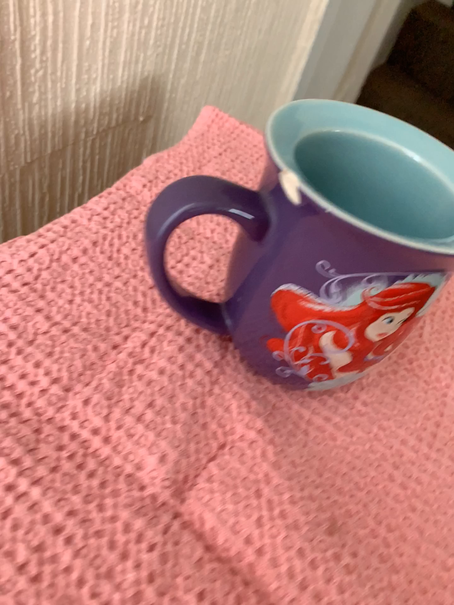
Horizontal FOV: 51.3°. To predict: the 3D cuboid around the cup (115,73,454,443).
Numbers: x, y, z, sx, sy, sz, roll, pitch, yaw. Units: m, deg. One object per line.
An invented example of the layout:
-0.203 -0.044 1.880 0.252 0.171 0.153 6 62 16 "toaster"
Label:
0.033 -0.018 0.207 0.140 0.099 0.101 -2 49 -22 "cup"
